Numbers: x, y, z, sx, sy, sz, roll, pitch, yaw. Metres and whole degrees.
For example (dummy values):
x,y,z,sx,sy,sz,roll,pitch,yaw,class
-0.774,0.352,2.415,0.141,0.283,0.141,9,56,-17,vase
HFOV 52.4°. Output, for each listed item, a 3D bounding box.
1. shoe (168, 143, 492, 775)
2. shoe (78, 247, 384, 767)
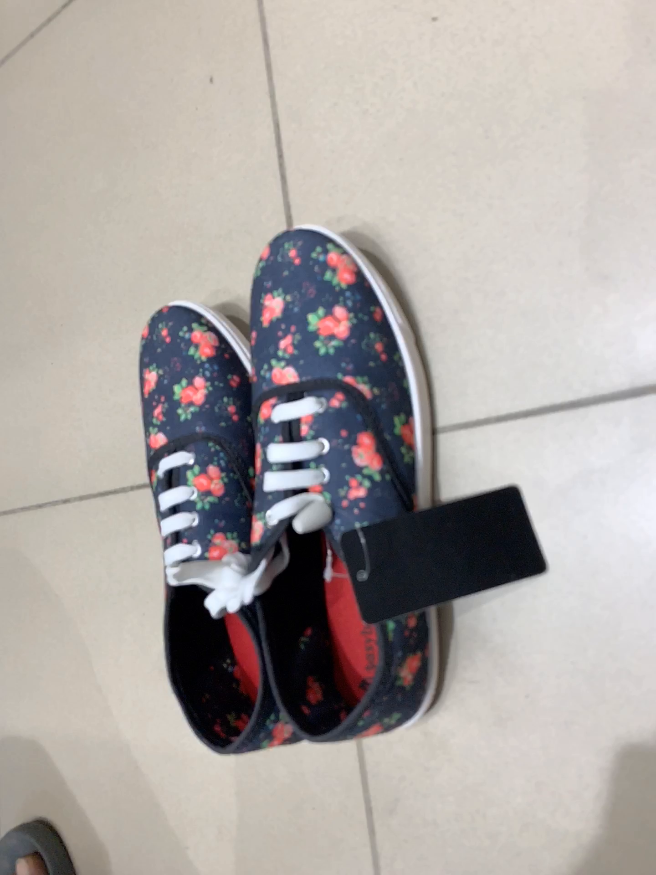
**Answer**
x,y,z,sx,sy,sz,roll,pitch,yaw,class
-0.002,0.012,0.342,0.101,0.080,0.270,-13,82,34,shoe
-0.063,0.040,0.400,0.101,0.080,0.270,-21,77,33,shoe
